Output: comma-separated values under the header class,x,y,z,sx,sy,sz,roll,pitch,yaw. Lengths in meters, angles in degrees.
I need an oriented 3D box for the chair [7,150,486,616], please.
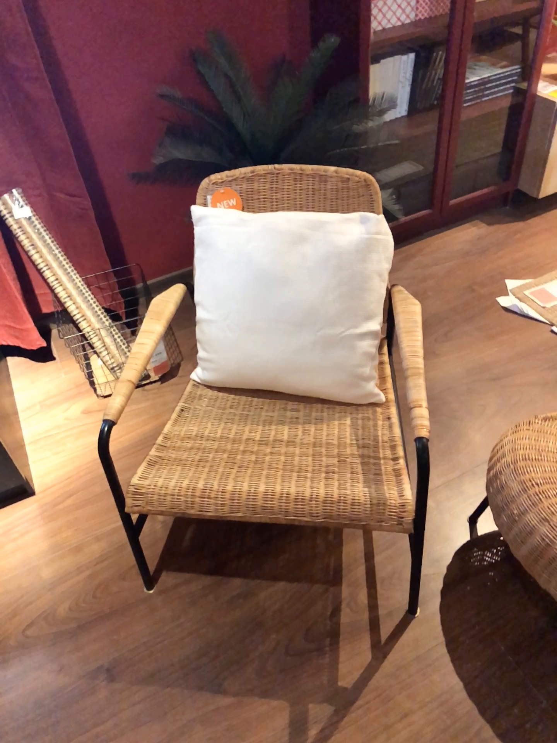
class,x,y,z,sx,sy,sz,roll,pitch,yaw
chair,0.003,0.017,1.318,0.670,0.705,0.664,1,44,8
